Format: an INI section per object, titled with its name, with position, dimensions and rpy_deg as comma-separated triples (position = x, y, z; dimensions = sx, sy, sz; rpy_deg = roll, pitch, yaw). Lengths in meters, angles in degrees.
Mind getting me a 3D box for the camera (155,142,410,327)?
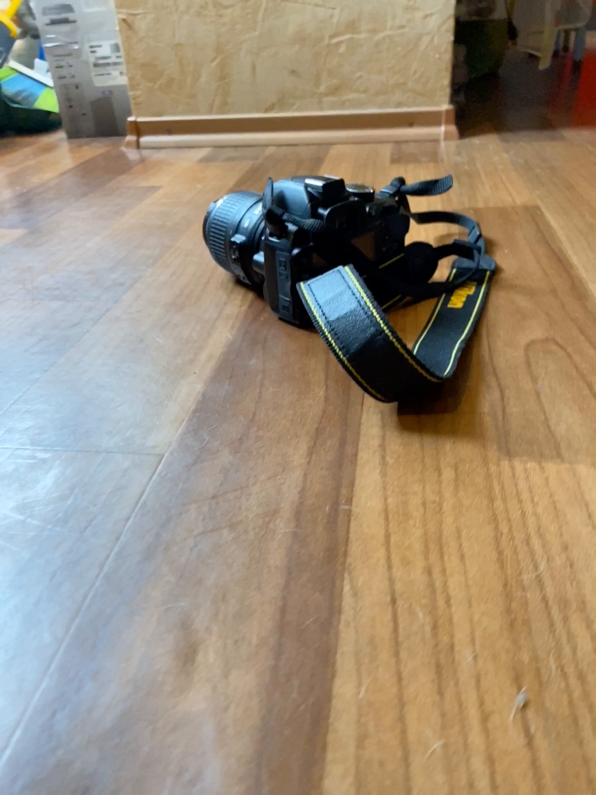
[camera]
position = -0.013, -0.141, 0.495
dimensions = 0.121, 0.090, 0.162
rpy_deg = -27, 38, -33
